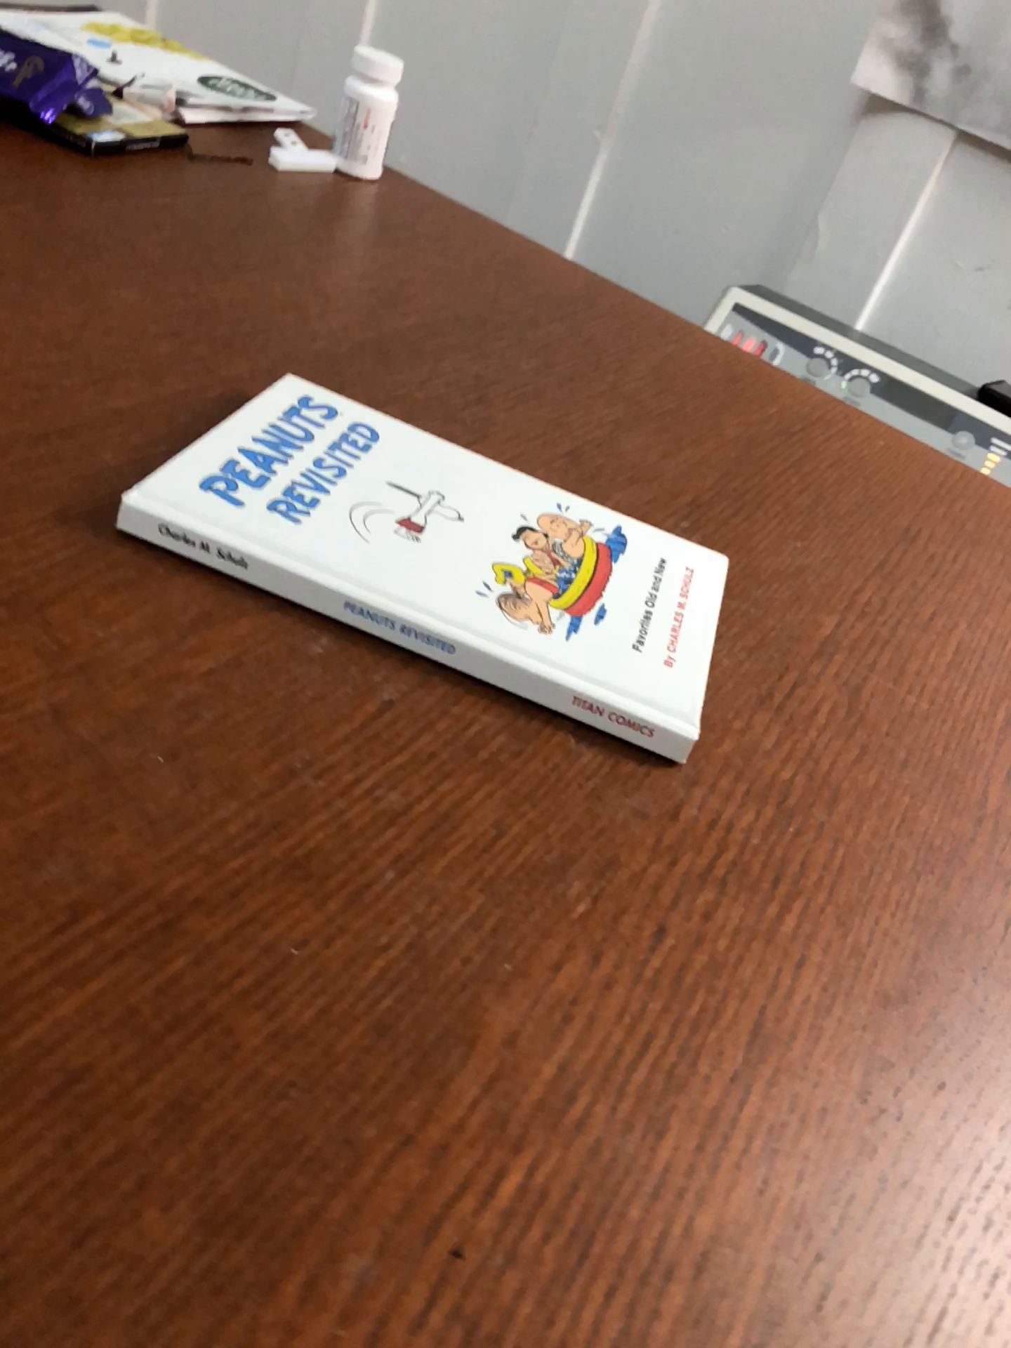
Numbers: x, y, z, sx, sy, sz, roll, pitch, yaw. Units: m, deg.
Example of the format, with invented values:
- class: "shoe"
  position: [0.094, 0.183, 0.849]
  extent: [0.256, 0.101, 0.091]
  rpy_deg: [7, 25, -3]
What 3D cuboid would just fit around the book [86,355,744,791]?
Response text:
- class: "book"
  position: [-0.019, -0.050, 0.430]
  extent: [0.220, 0.020, 0.151]
  rpy_deg: [23, 35, 1]
